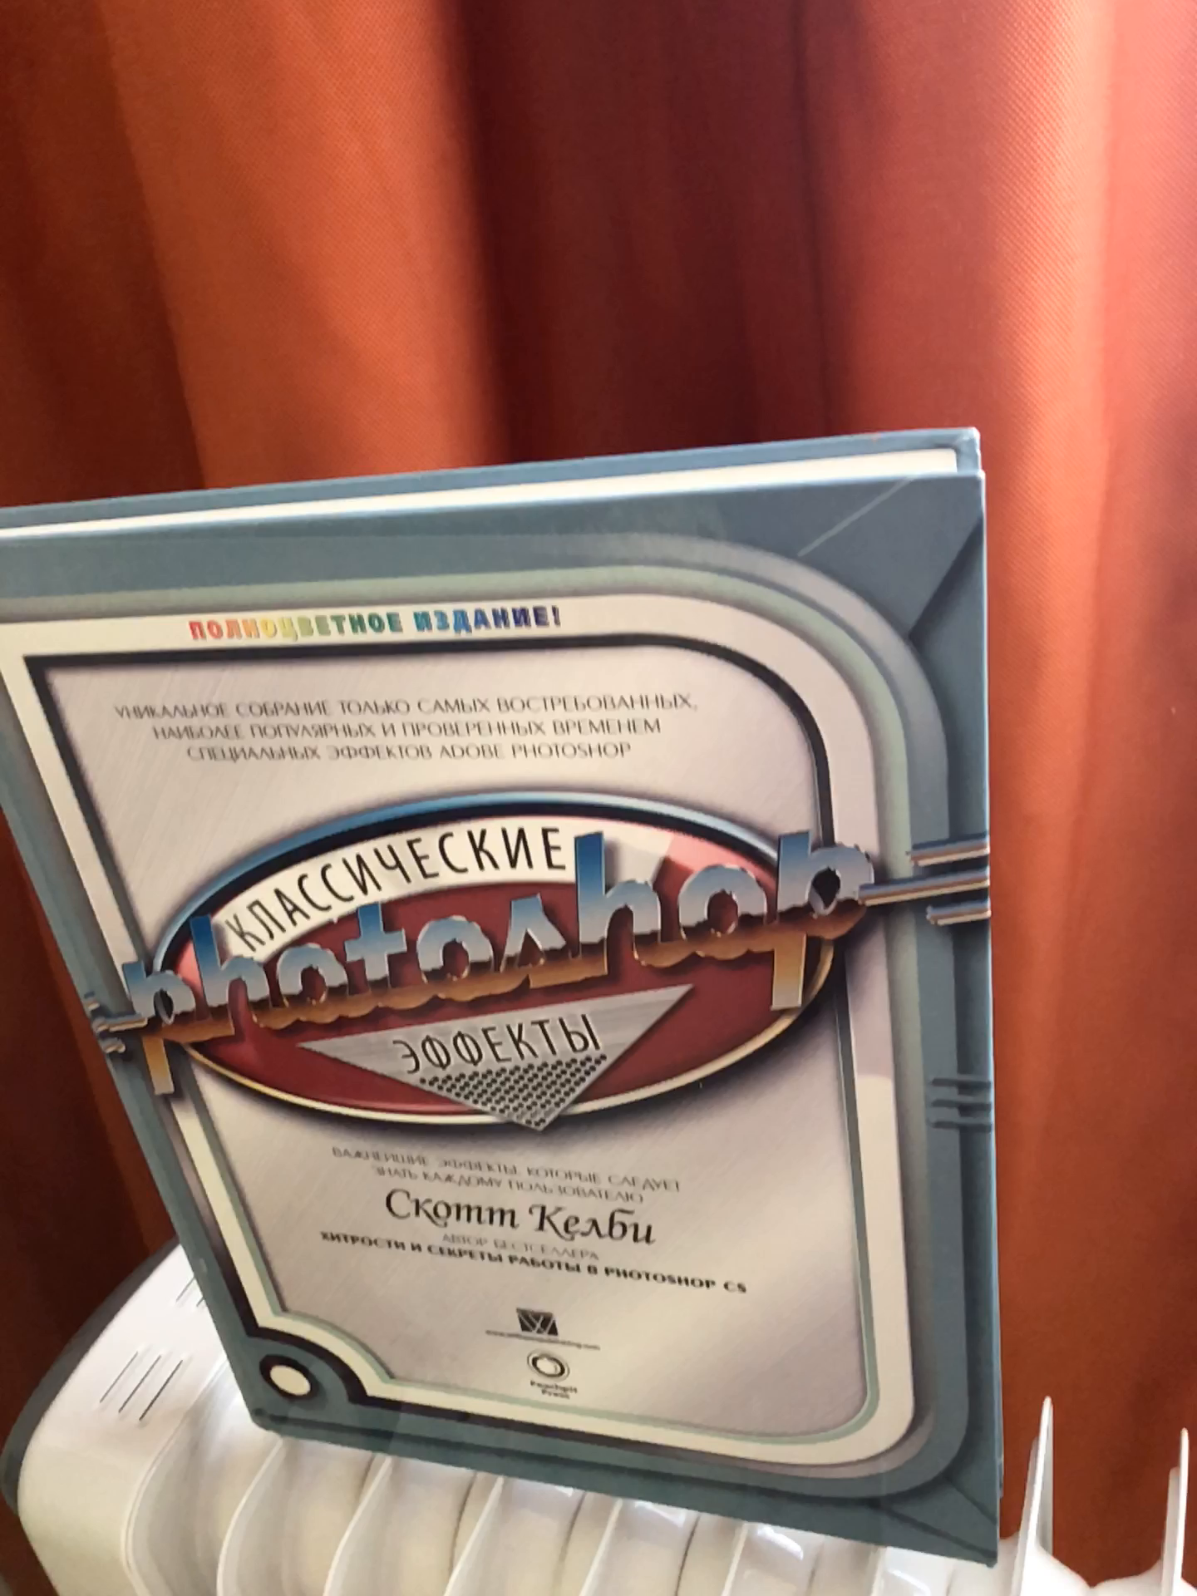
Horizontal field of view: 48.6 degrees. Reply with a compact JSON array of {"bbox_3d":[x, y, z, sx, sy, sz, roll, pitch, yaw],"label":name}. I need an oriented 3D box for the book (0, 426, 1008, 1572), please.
[{"bbox_3d":[-0.020,0.062,0.319,0.225,0.275,0.040,0,29,18],"label":"book"}]
